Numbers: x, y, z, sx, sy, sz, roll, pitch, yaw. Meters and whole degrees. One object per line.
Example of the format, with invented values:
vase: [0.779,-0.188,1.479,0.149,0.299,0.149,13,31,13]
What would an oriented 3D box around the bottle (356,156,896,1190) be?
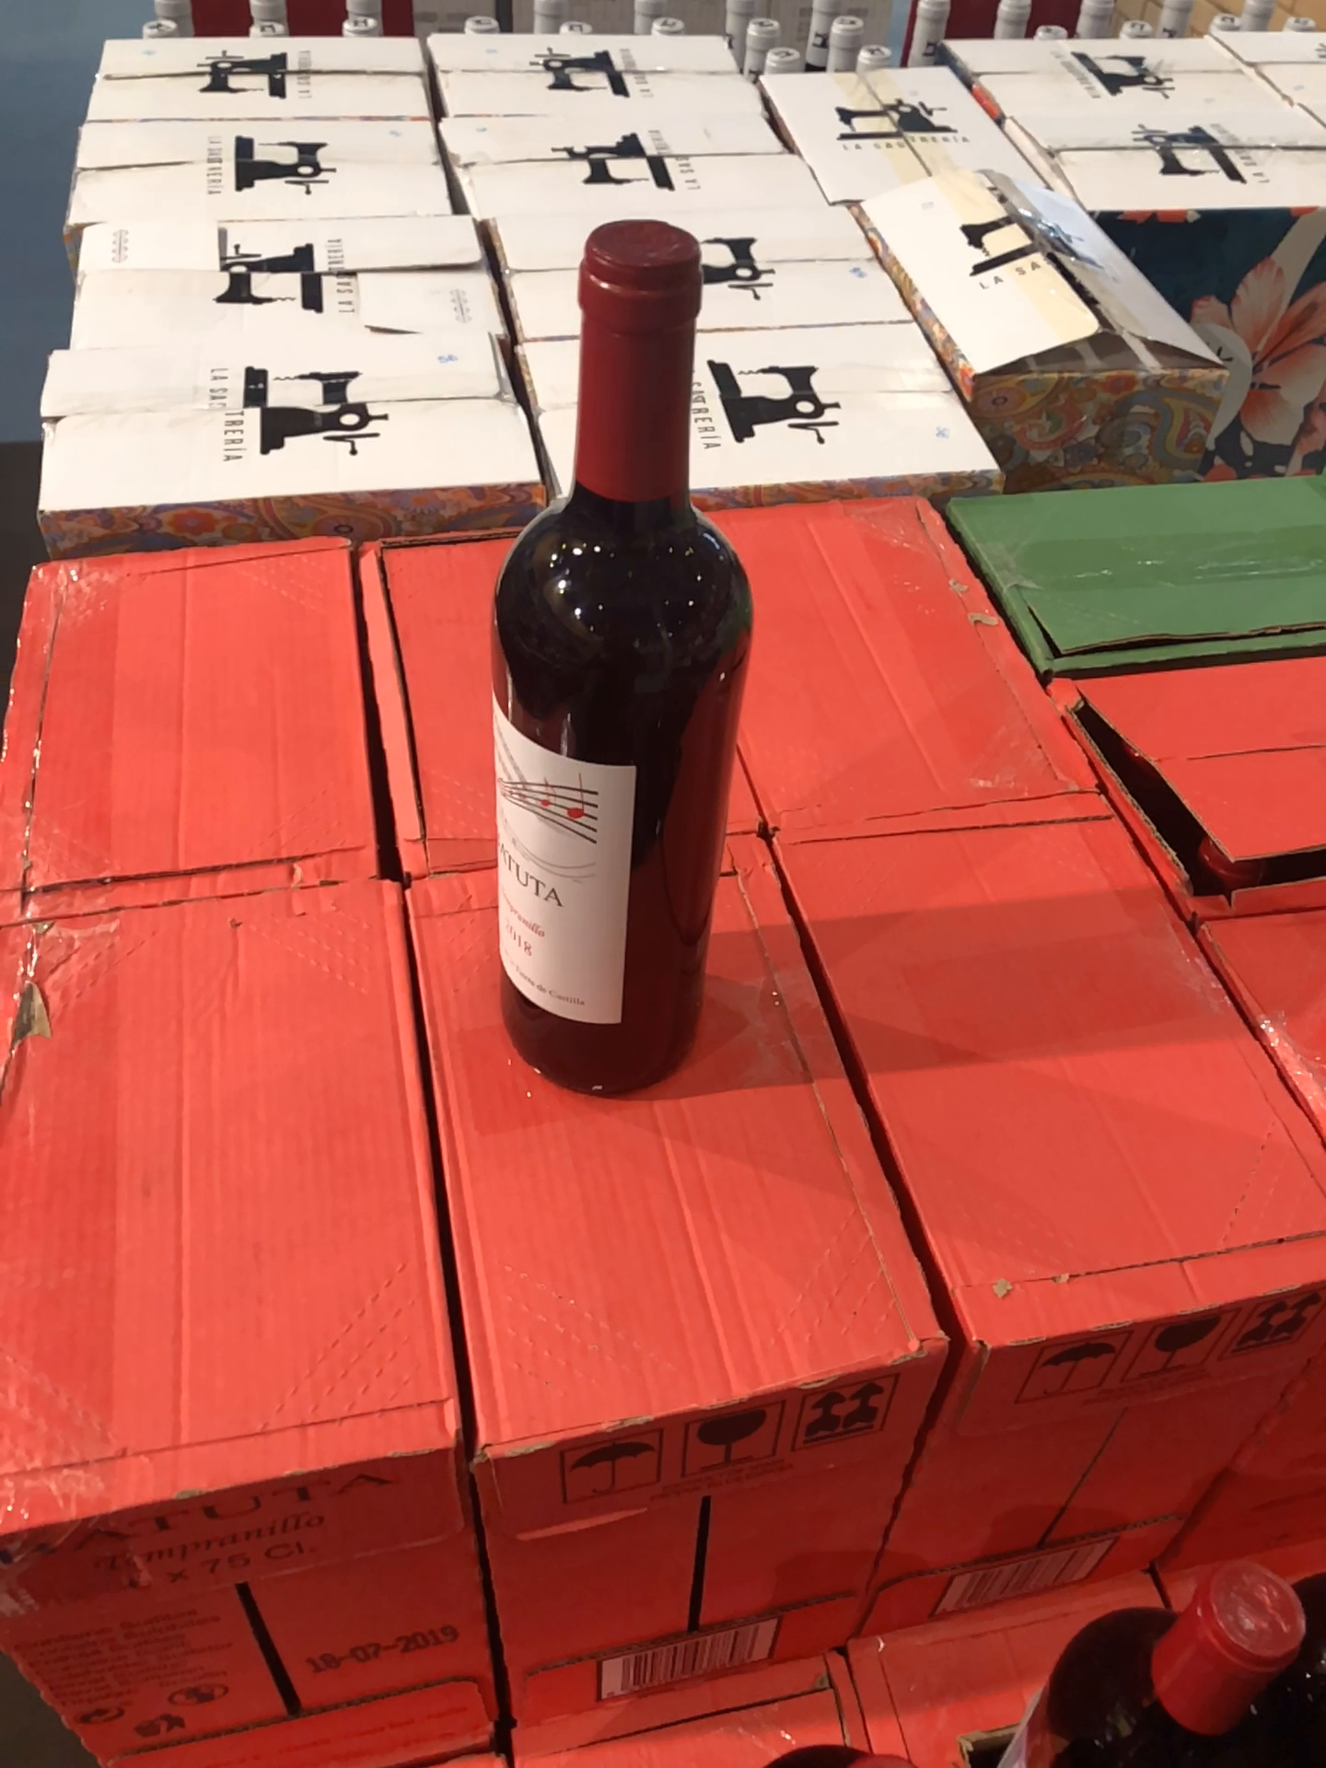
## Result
bottle: [-0.015,-0.040,0.427,0.080,0.287,0.090,-33,56,-29]
